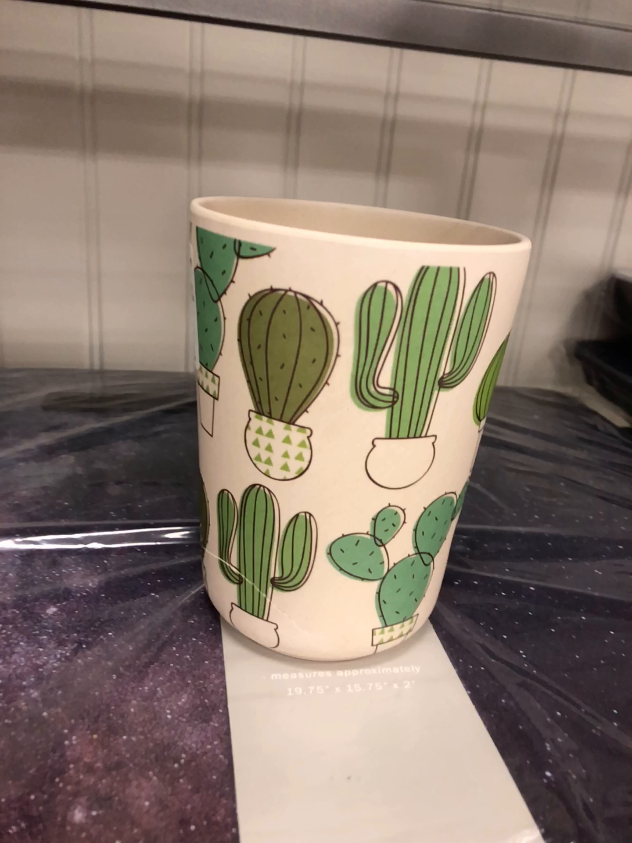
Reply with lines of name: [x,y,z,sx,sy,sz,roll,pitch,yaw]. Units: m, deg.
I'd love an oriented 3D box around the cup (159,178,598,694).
cup: [0.012,-0.003,0.226,0.100,0.129,0.091,6,22,3]
